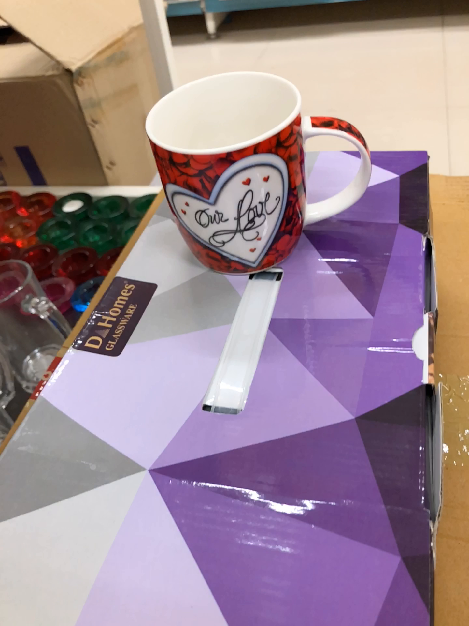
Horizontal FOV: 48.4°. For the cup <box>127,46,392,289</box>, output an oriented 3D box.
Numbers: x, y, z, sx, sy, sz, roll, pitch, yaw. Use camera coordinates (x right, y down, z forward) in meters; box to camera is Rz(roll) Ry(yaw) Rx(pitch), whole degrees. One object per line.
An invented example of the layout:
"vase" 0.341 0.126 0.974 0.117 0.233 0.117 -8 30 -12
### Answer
"cup" 0.018 -0.088 0.321 0.130 0.099 0.091 -5 43 7
